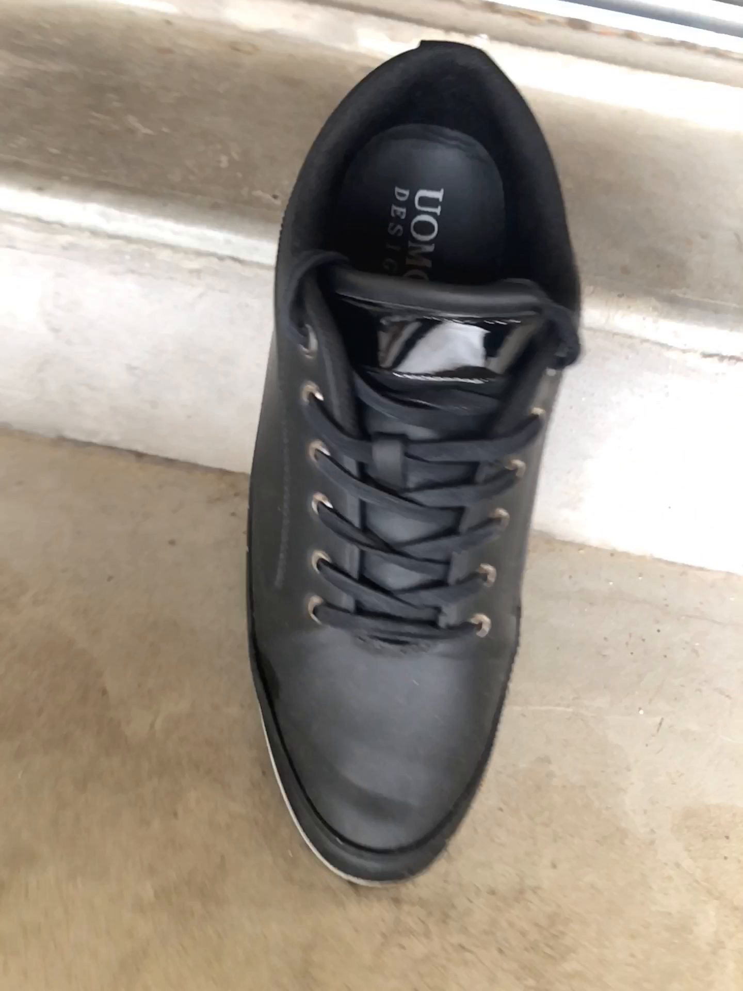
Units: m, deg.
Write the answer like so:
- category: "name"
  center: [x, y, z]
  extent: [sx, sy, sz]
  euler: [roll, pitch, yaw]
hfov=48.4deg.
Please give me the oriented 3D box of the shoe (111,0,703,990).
- category: "shoe"
  center: [0.016, -0.010, 0.288]
  extent: [0.130, 0.090, 0.290]
  euler: [10, 82, -2]
